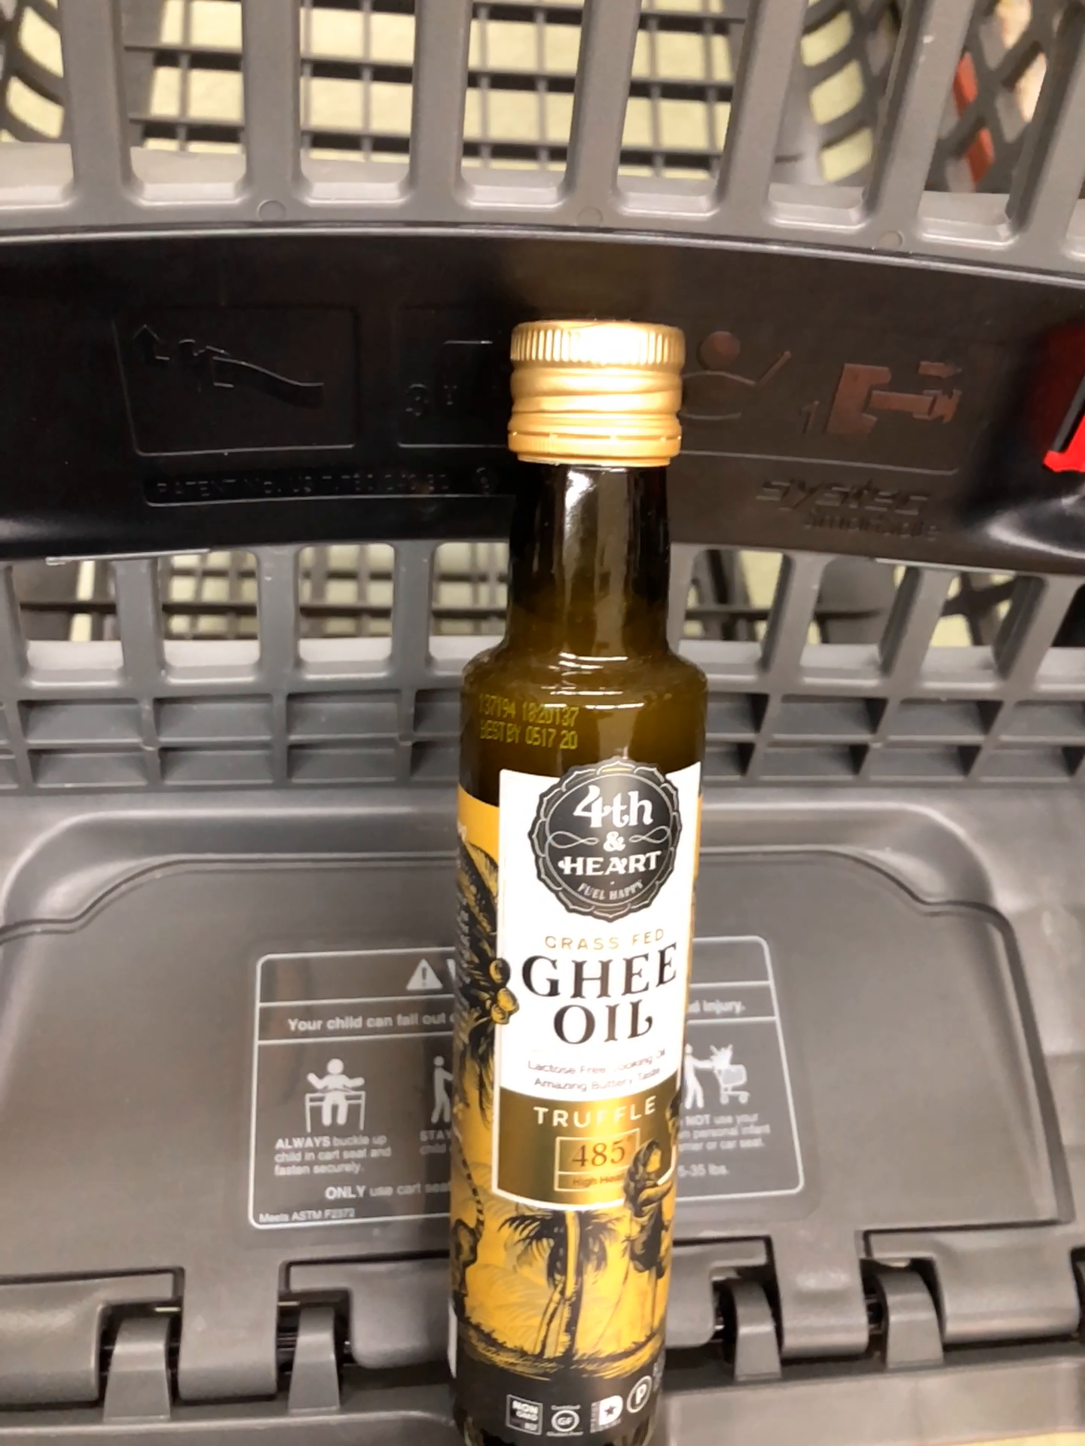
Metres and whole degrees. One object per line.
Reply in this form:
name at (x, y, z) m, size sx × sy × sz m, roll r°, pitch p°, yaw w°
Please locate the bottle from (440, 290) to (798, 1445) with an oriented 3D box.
bottle at (0.007, 0.048, 0.246) m, size 0.054 × 0.050 × 0.250 m, roll -1°, pitch 106°, yaw -7°
